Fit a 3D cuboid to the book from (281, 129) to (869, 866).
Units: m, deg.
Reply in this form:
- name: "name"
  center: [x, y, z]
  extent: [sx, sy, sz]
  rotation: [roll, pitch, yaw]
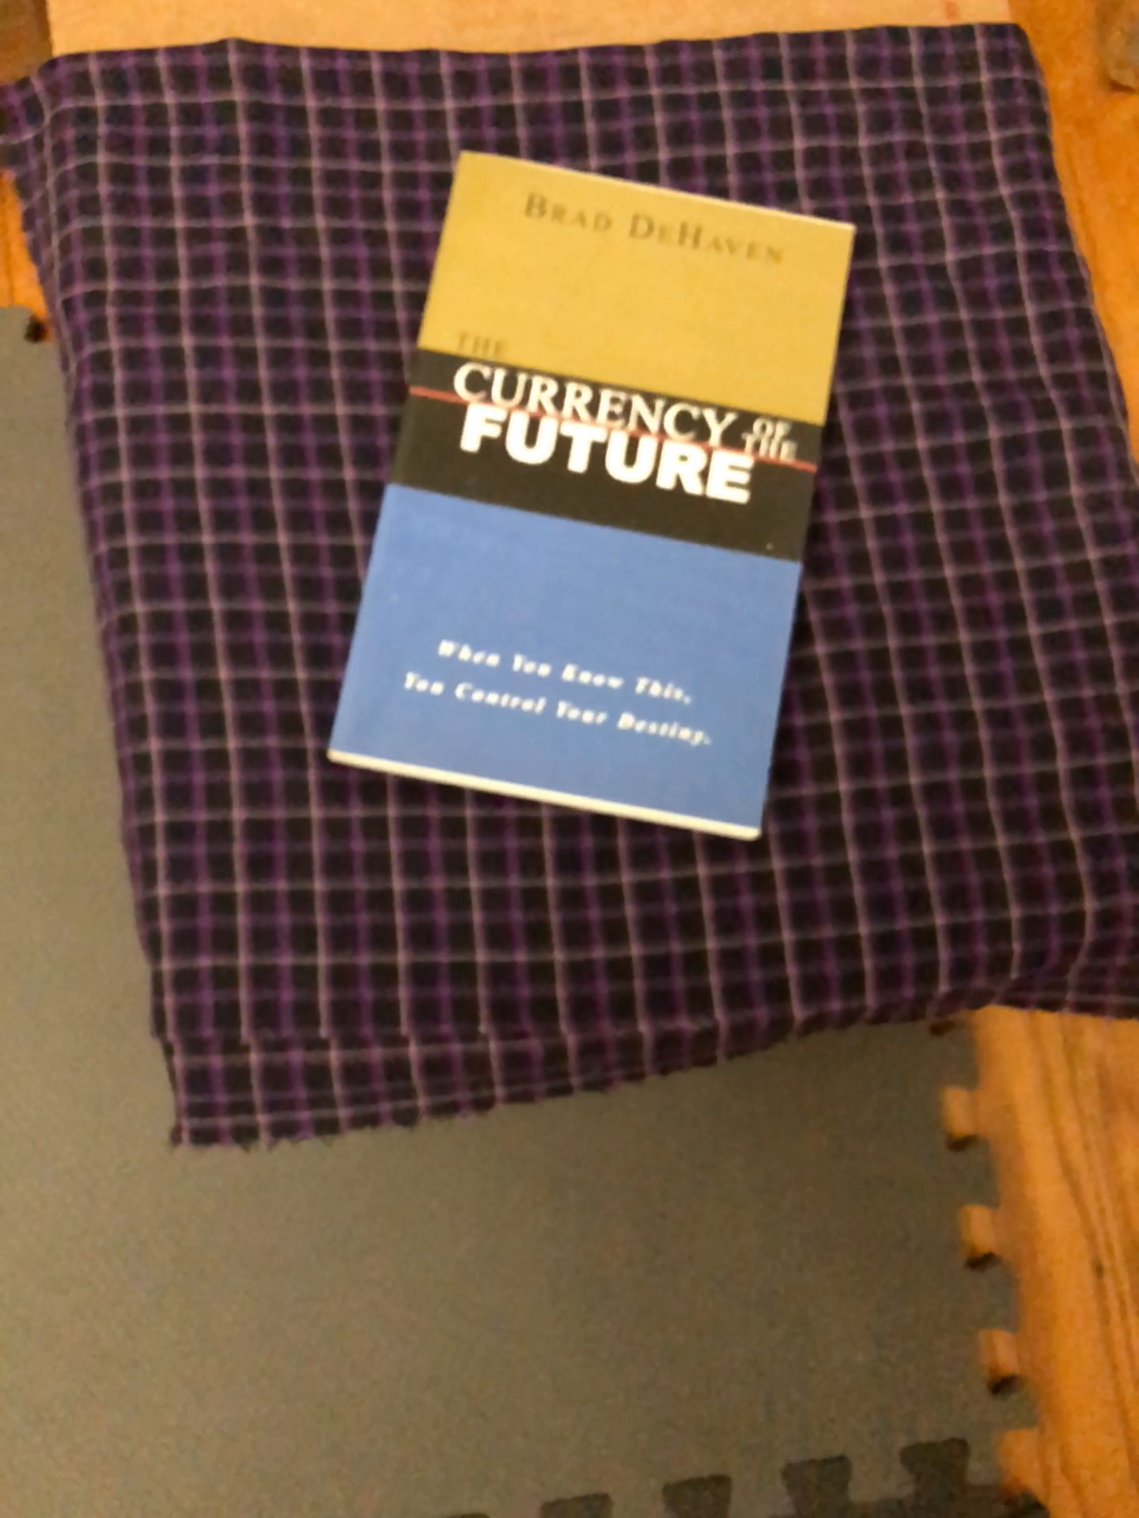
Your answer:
- name: "book"
  center: [0.006, -0.088, 0.415]
  extent: [0.150, 0.020, 0.220]
  rotation: [11, 80, -1]
